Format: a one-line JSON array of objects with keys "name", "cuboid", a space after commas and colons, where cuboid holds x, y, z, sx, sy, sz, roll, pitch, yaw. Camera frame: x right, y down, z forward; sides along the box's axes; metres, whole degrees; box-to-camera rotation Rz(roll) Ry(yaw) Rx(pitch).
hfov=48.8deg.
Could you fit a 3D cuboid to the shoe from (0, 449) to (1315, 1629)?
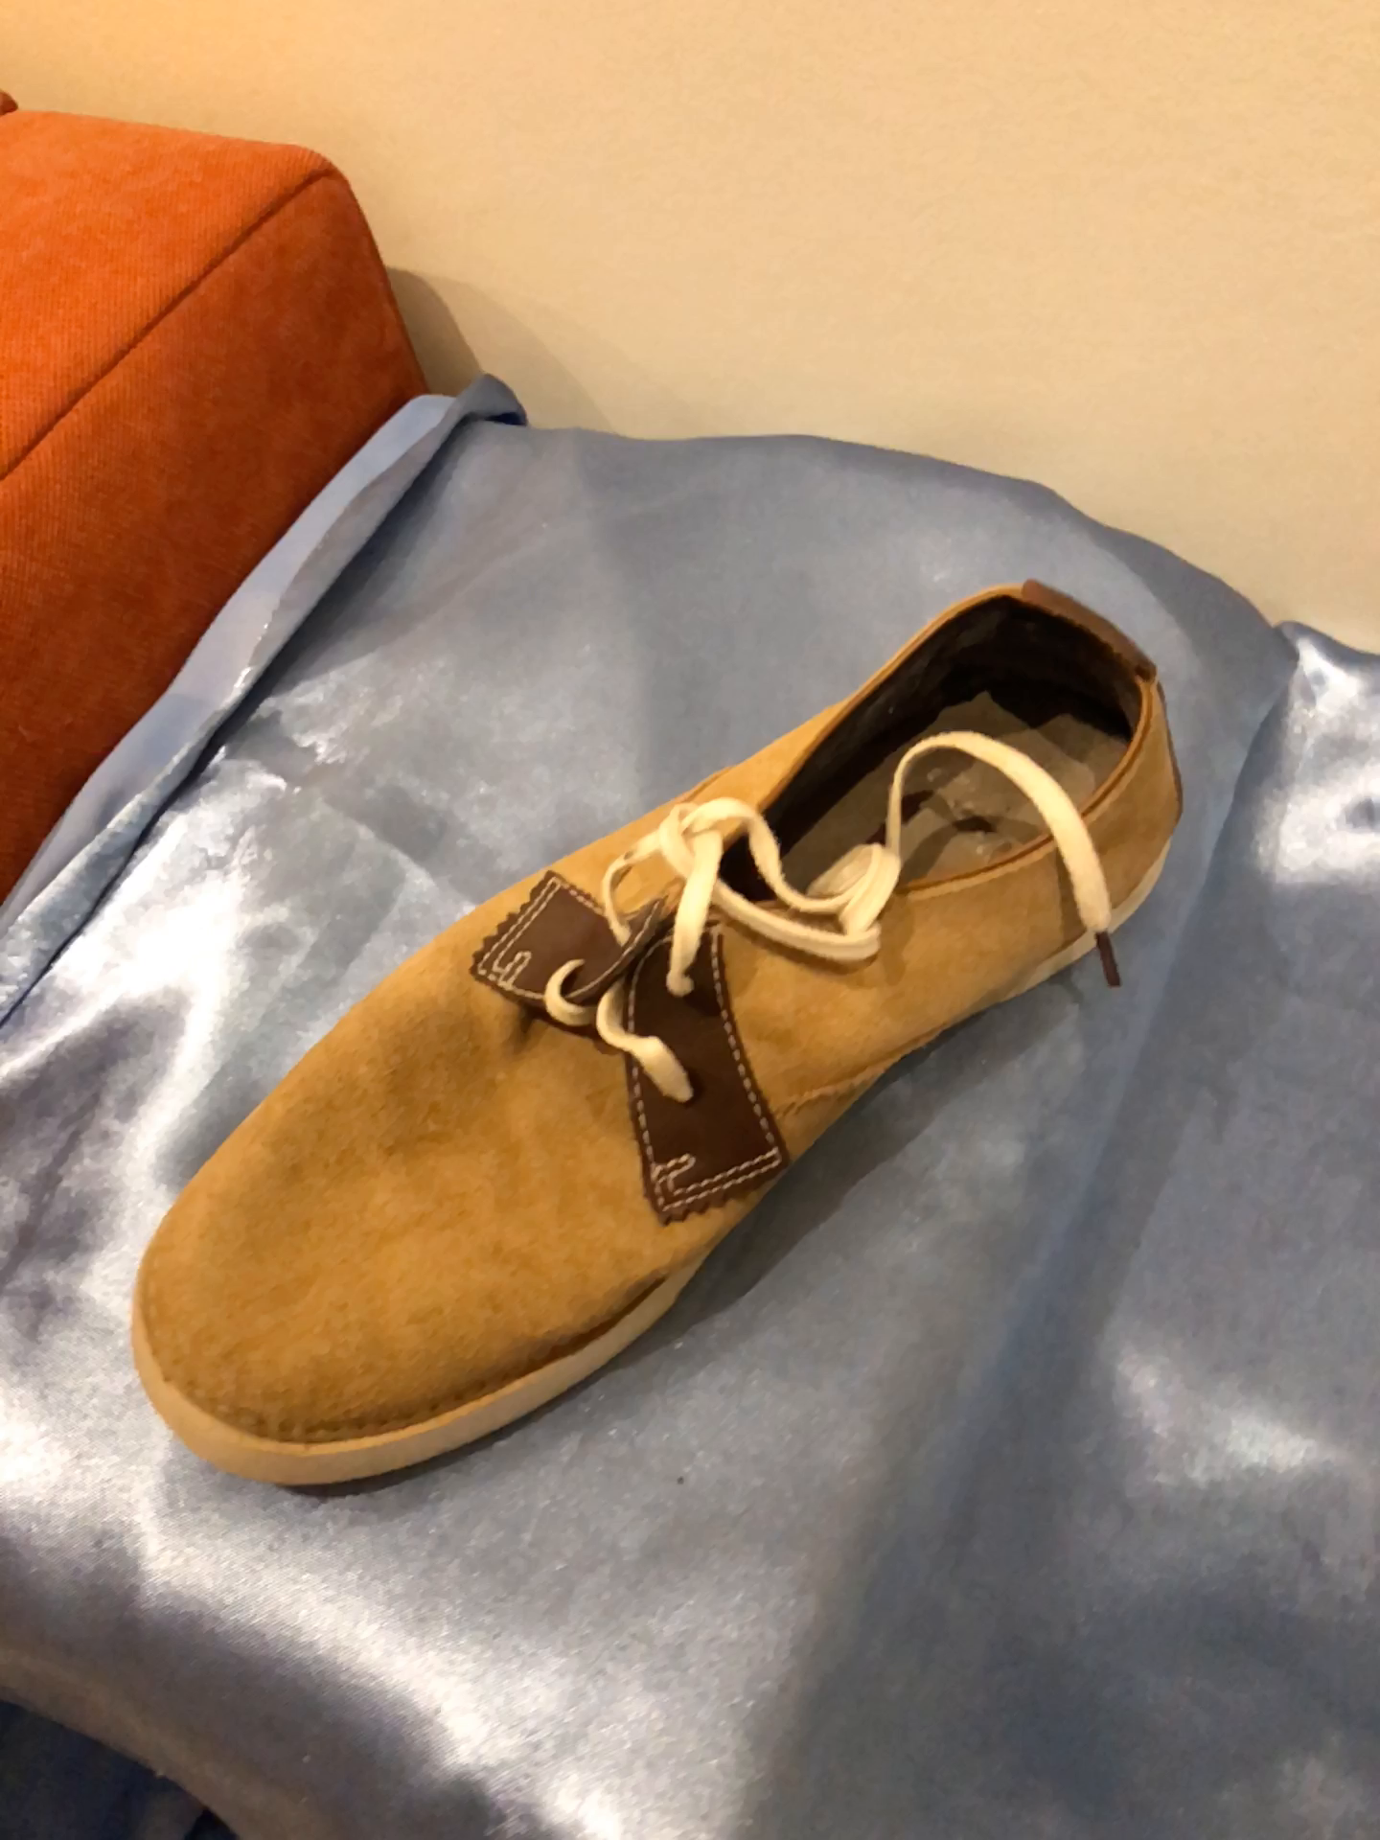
[{"name": "shoe", "cuboid": [-0.007, 0.025, 0.393, 0.300, 0.119, 0.120, -33, 58, -12]}]
